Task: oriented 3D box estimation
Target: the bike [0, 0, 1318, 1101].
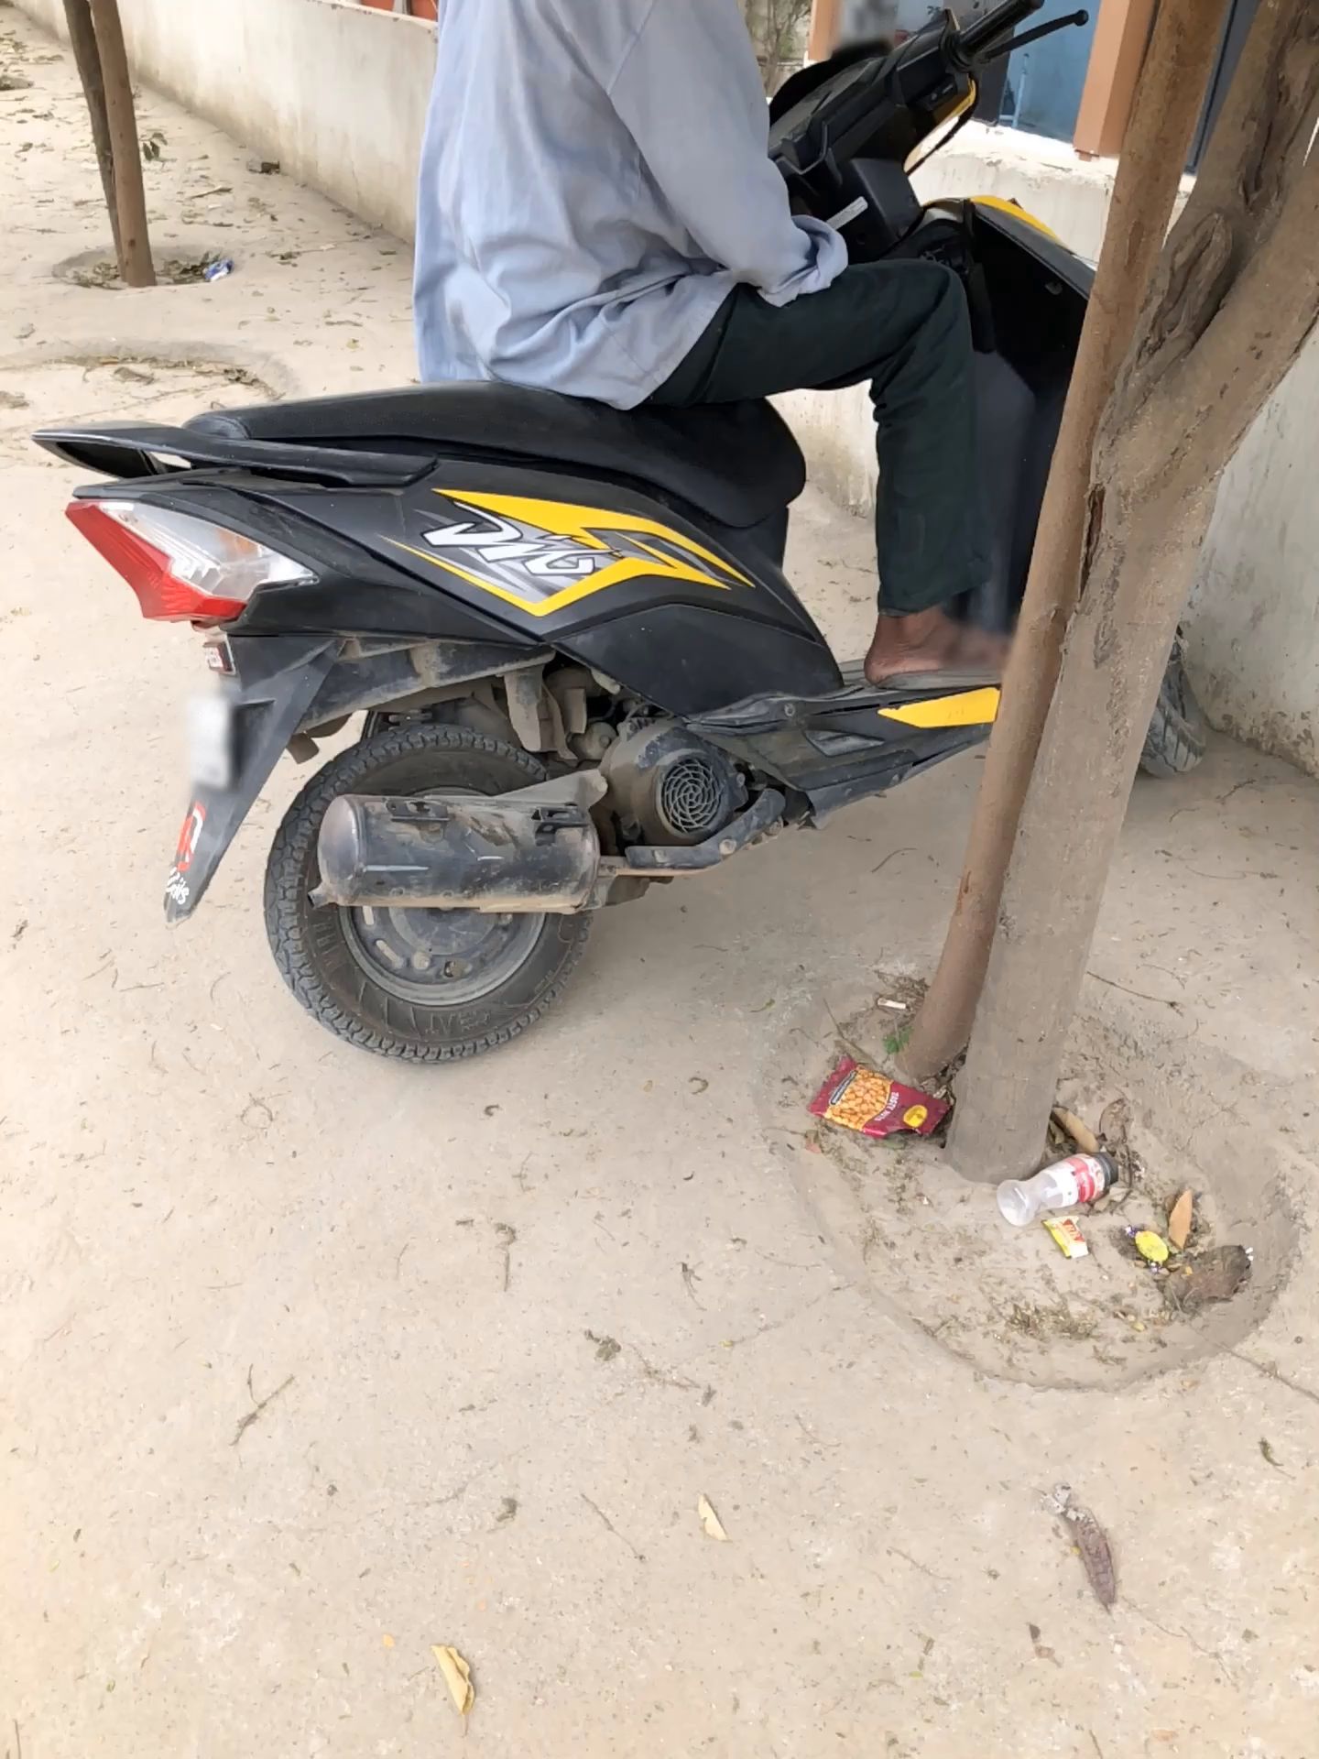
[{"bbox_3d":[0.078,-0.644,2.000,1.577,1.144,0.635,-22,41,-31],"label":"bike"}]
